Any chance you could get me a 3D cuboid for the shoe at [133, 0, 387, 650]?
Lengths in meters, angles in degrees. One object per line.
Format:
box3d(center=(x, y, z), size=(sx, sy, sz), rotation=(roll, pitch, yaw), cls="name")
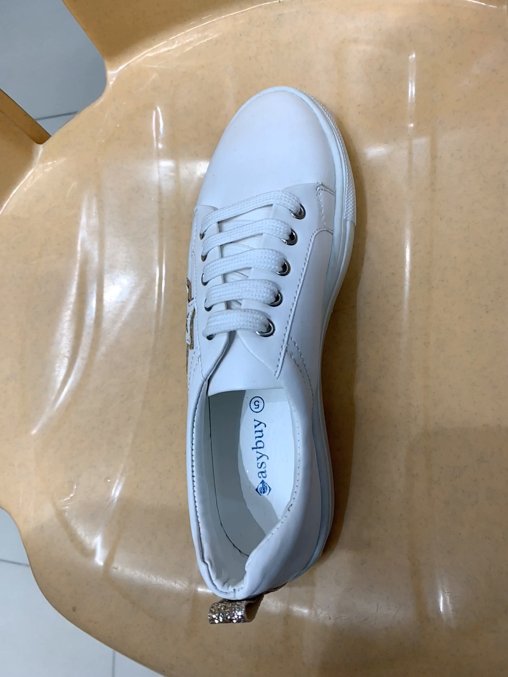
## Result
box3d(center=(0.007, -0.005, 0.251), size=(0.090, 0.090, 0.240), rotation=(-3, 86, 21), cls="shoe")
